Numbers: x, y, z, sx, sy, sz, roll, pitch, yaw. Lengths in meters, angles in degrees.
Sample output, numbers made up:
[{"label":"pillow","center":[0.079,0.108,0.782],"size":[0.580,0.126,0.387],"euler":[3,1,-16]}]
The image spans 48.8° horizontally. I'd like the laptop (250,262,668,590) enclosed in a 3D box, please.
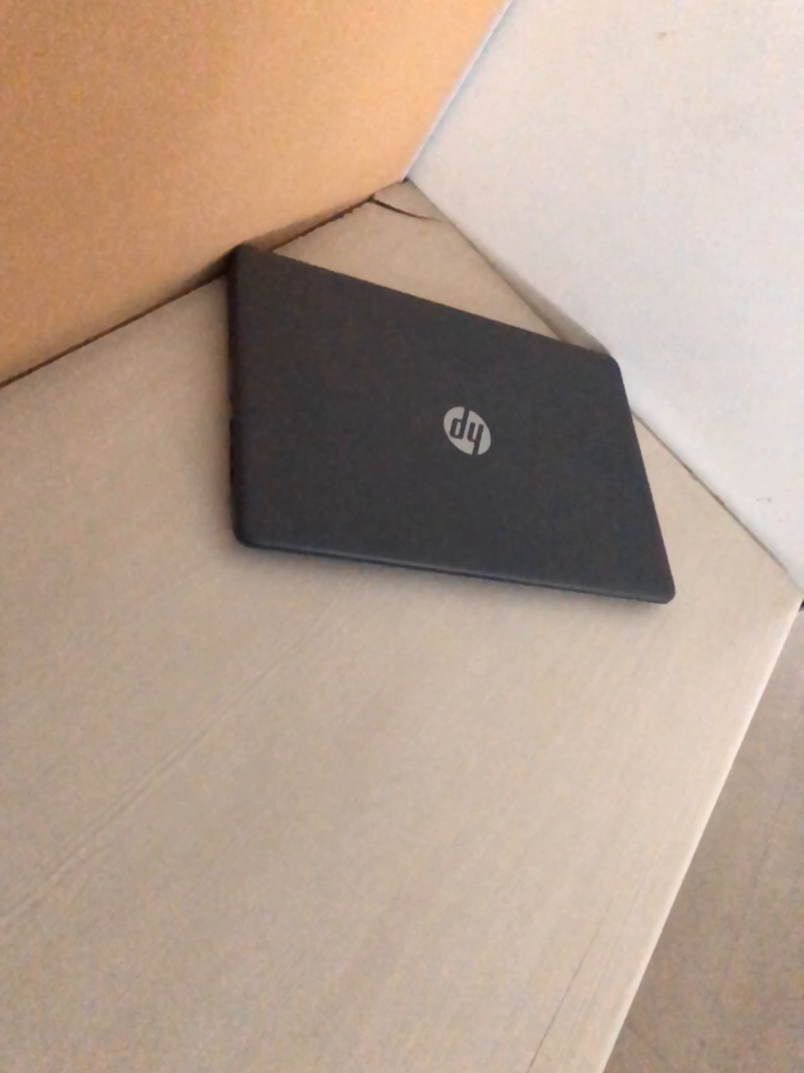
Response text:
[{"label":"laptop","center":[0.051,-0.083,0.708],"size":[0.356,0.004,0.237],"euler":[9,58,-27]}]
